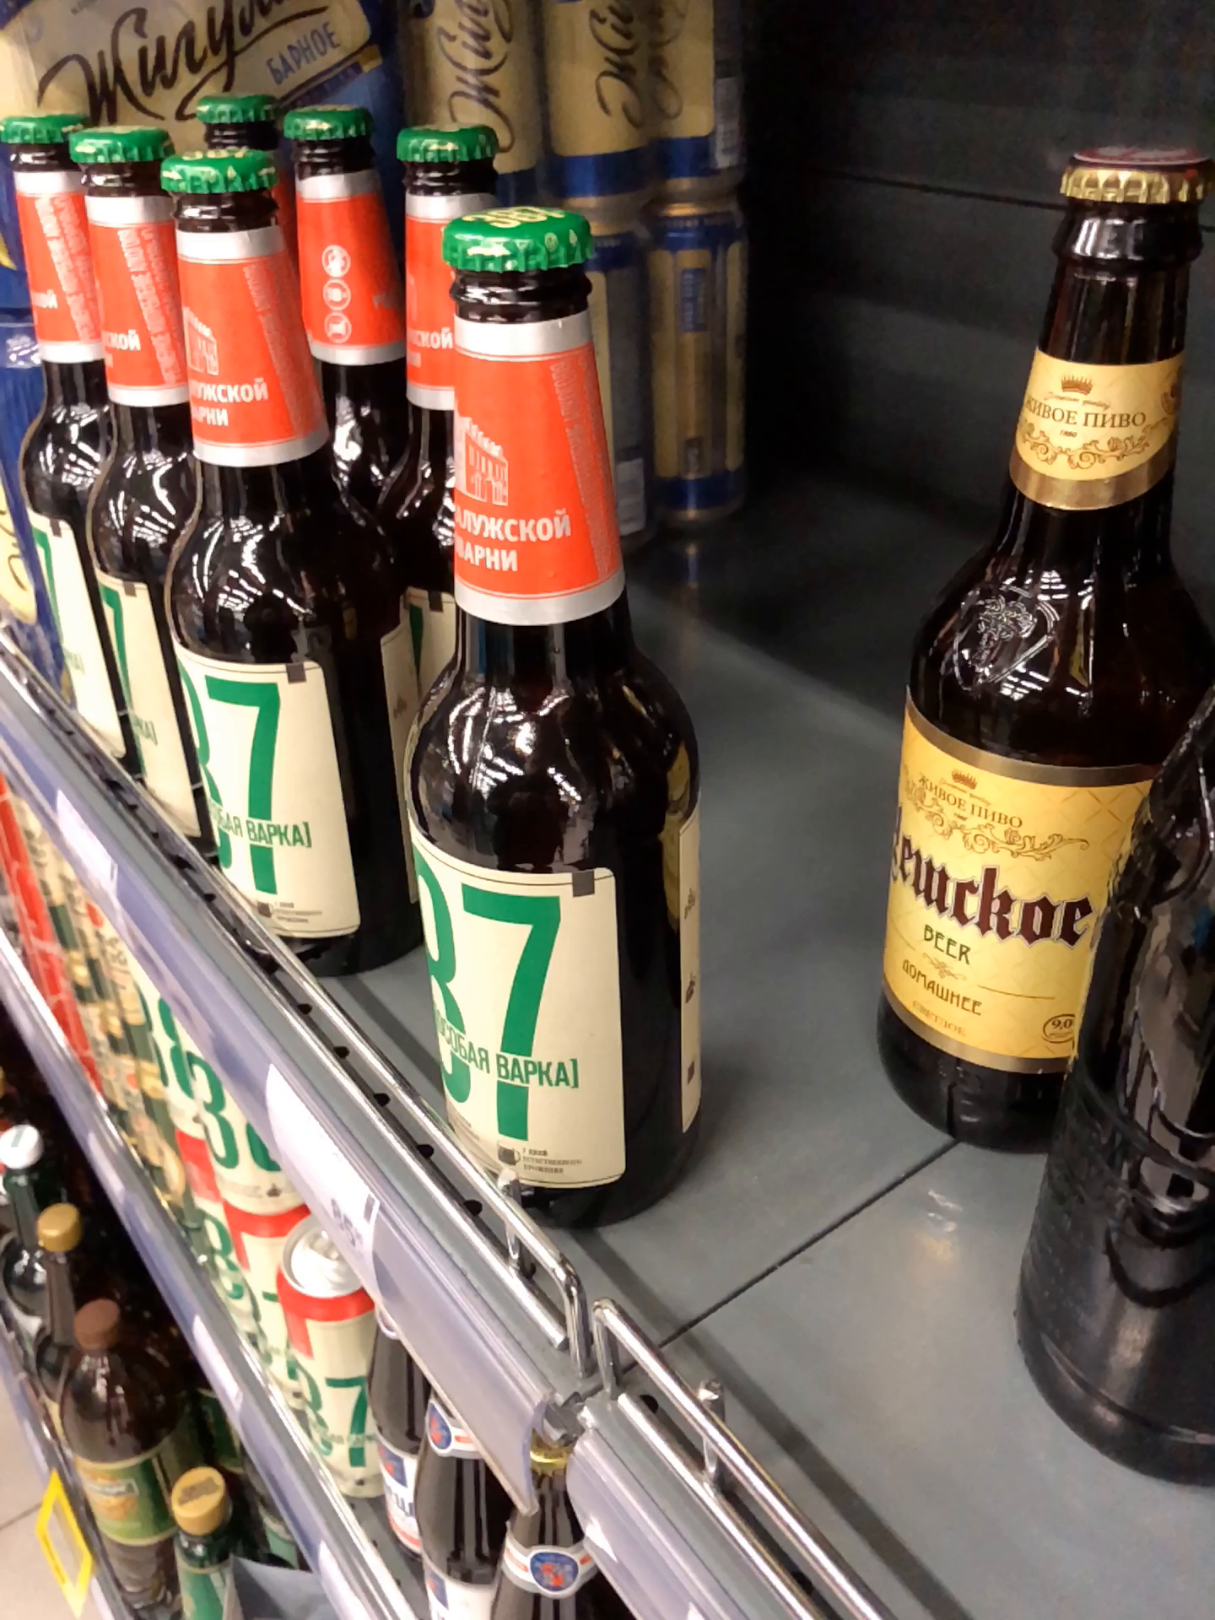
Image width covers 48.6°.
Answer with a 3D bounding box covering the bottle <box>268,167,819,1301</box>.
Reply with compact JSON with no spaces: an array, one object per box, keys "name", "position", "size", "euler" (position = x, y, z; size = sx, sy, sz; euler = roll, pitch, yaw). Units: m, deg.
[{"name":"bottle","position":[-0.011,-0.009,0.298],"size":[0.070,0.229,0.080],"euler":[-17,36,-21]}]
